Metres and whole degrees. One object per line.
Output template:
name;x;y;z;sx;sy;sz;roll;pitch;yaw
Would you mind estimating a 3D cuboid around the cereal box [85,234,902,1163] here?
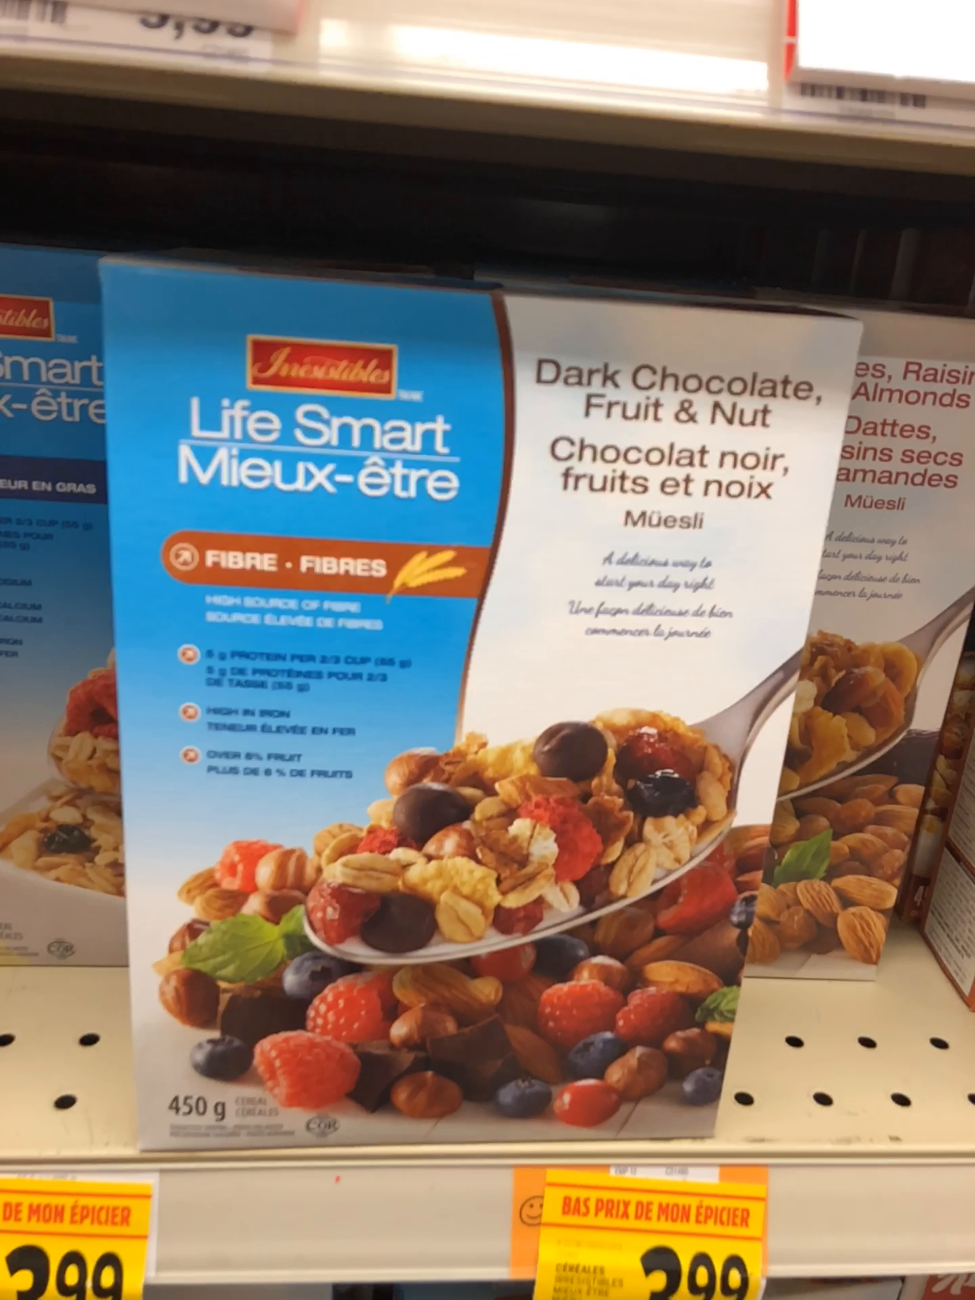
cereal box;-0.007;0.024;0.285;0.170;0.238;0.050;2;21;-7
